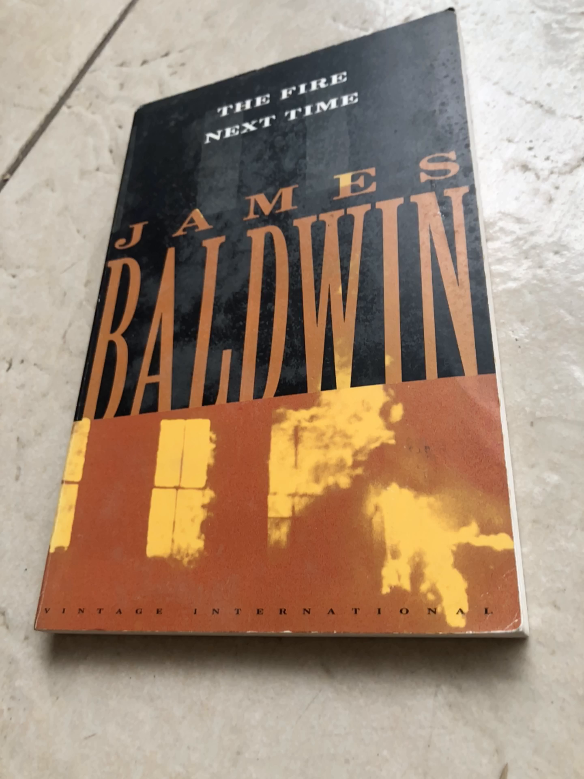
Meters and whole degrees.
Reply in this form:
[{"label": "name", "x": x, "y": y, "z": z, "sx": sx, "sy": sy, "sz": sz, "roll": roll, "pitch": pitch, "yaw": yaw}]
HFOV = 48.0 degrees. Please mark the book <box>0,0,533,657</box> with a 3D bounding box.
[{"label": "book", "x": -0.008, "y": -0.029, "z": 0.199, "sx": 0.130, "sy": 0.016, "sz": 0.201, "roll": -7, "pitch": 62, "yaw": 19}]
